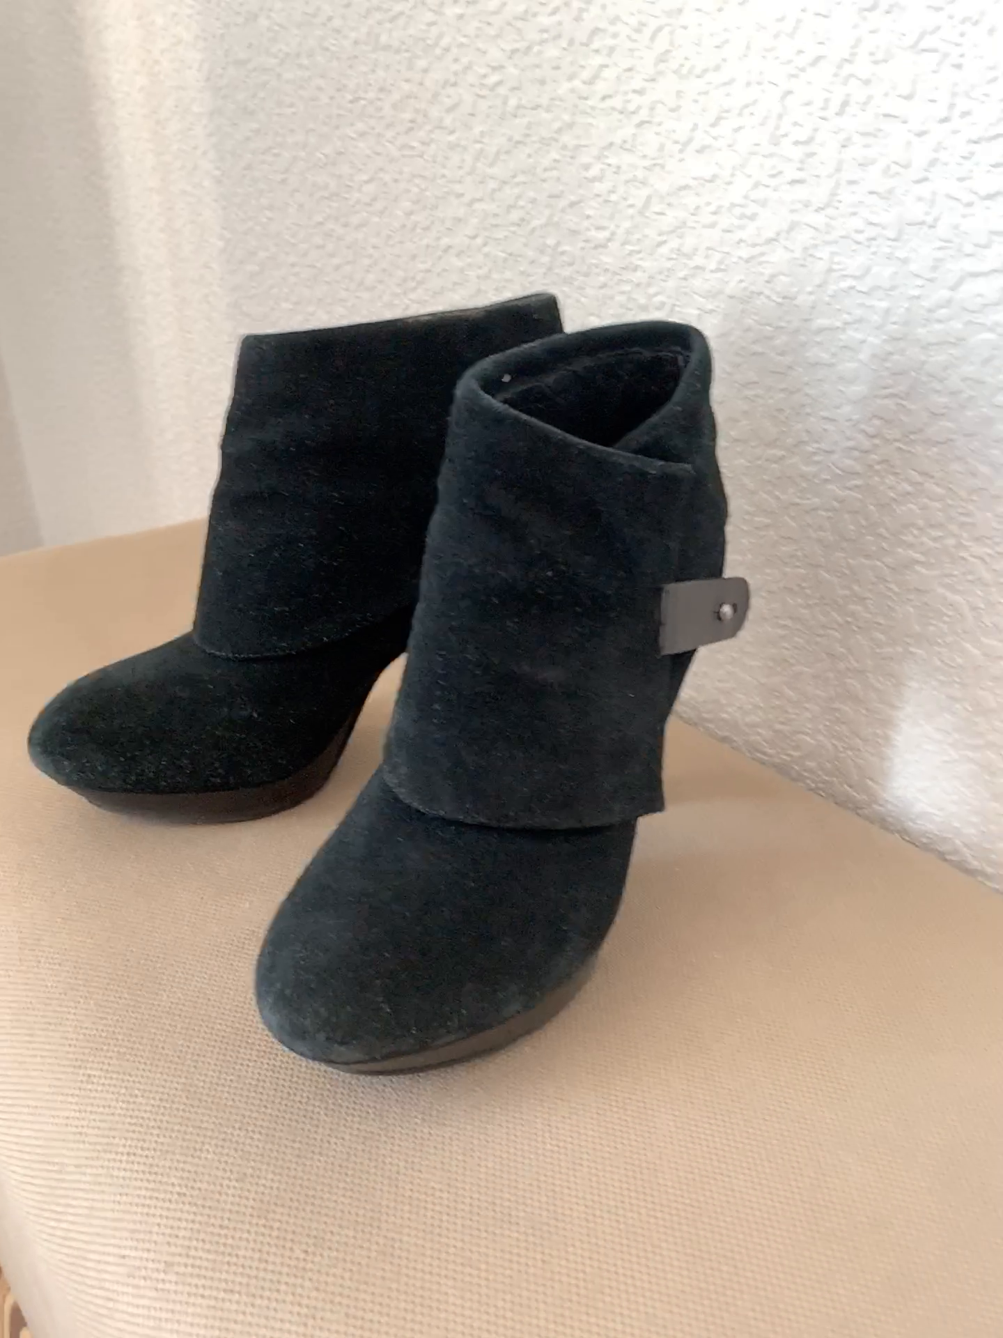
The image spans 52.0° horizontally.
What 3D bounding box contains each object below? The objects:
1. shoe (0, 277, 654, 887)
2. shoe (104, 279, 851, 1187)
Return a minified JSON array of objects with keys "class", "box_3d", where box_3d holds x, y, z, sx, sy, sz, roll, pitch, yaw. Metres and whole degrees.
[{"class":"shoe","box_3d":[-0.068,-0.041,0.376,0.217,0.166,0.090,-12,32,-21]},{"class":"shoe","box_3d":[0.015,-0.008,0.304,0.090,0.166,0.218,17,34,26]}]
